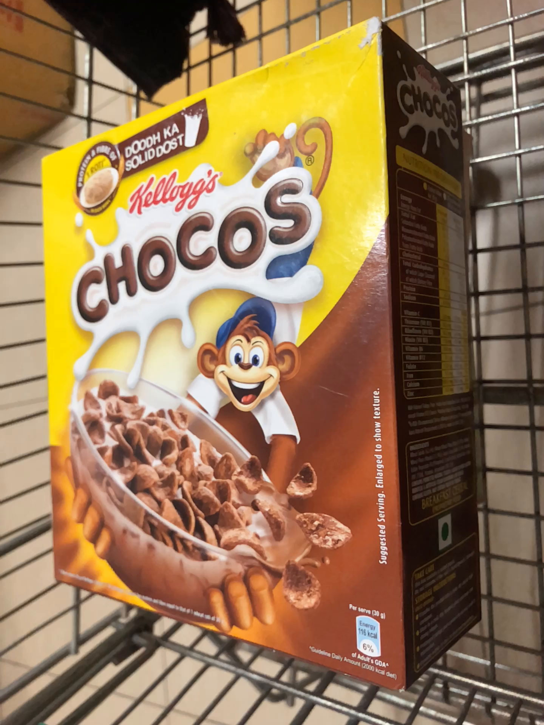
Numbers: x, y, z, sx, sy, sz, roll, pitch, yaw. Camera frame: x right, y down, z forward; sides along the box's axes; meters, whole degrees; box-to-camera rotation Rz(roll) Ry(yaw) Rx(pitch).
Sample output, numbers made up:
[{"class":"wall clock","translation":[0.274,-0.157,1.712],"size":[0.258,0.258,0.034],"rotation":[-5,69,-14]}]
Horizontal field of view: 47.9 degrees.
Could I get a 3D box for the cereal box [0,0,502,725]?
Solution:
[{"class":"cereal box","translation":[-0.022,-0.001,0.228],"size":[0.181,0.070,0.190],"rotation":[-3,89,39]}]
